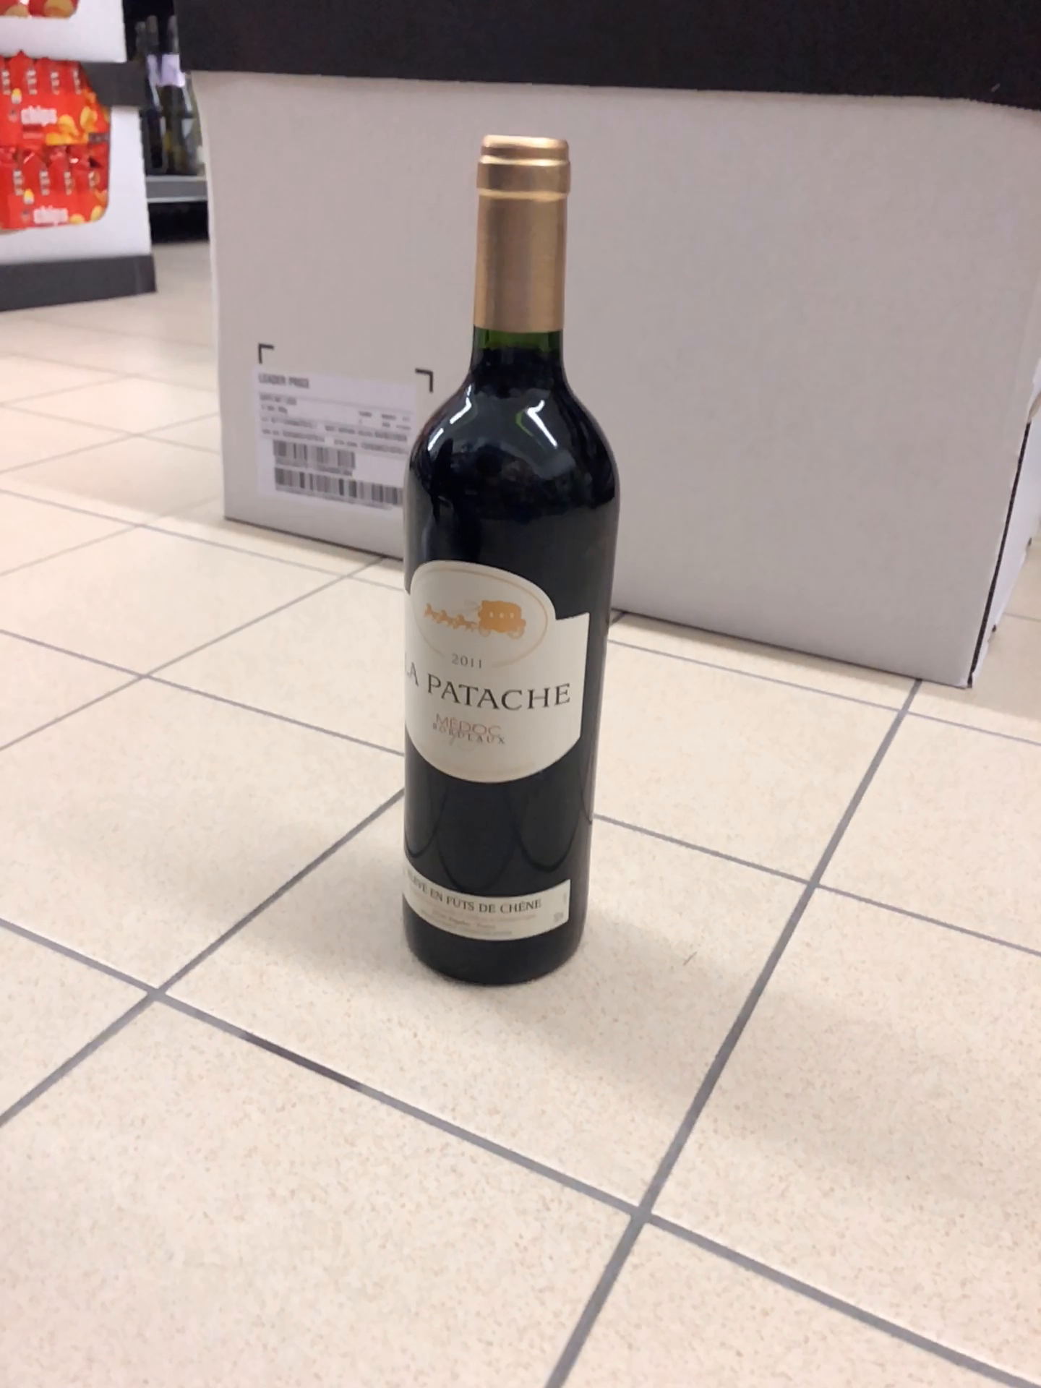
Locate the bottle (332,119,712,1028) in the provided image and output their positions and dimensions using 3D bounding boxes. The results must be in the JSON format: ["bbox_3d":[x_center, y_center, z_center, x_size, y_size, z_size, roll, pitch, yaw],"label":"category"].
[{"bbox_3d":[-0.002,-0.034,0.396,0.090,0.288,0.081,10,27,16],"label":"bottle"}]
